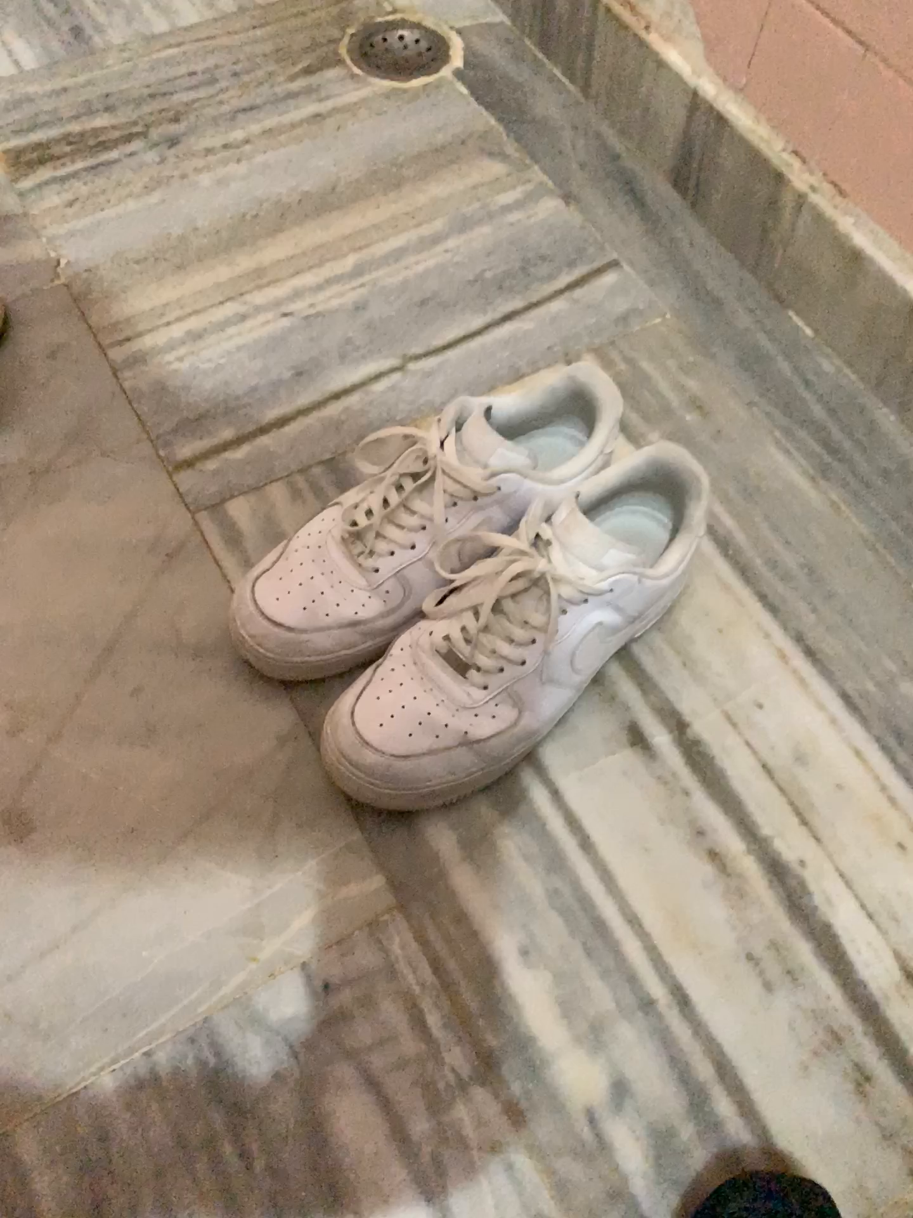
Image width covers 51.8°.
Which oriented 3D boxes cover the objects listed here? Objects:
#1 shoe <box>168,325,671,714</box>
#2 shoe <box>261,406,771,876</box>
[{"bbox_3d":[-0.021,-0.065,0.658,0.309,0.120,0.110,-27,67,-16],"label":"shoe"},{"bbox_3d":[0.041,0.017,0.610,0.309,0.120,0.110,-36,70,-20],"label":"shoe"}]
